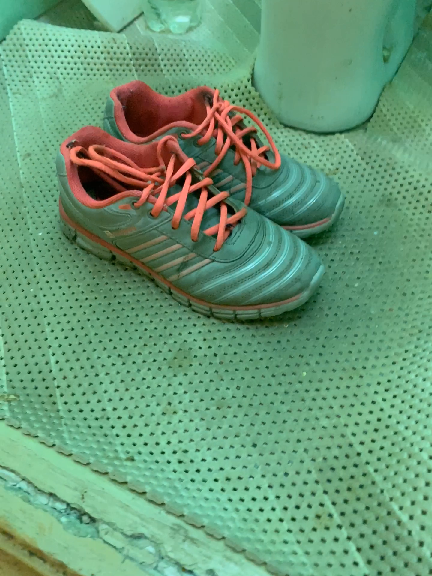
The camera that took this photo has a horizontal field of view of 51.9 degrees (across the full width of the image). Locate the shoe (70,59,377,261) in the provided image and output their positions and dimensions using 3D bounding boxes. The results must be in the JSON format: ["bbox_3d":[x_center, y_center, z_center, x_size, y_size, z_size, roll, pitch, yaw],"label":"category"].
[{"bbox_3d":[0.007,-0.137,0.458,0.270,0.089,0.111,19,57,12],"label":"shoe"}]

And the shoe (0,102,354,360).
[{"bbox_3d":[-0.035,-0.059,0.396,0.268,0.089,0.111,24,58,15],"label":"shoe"}]
